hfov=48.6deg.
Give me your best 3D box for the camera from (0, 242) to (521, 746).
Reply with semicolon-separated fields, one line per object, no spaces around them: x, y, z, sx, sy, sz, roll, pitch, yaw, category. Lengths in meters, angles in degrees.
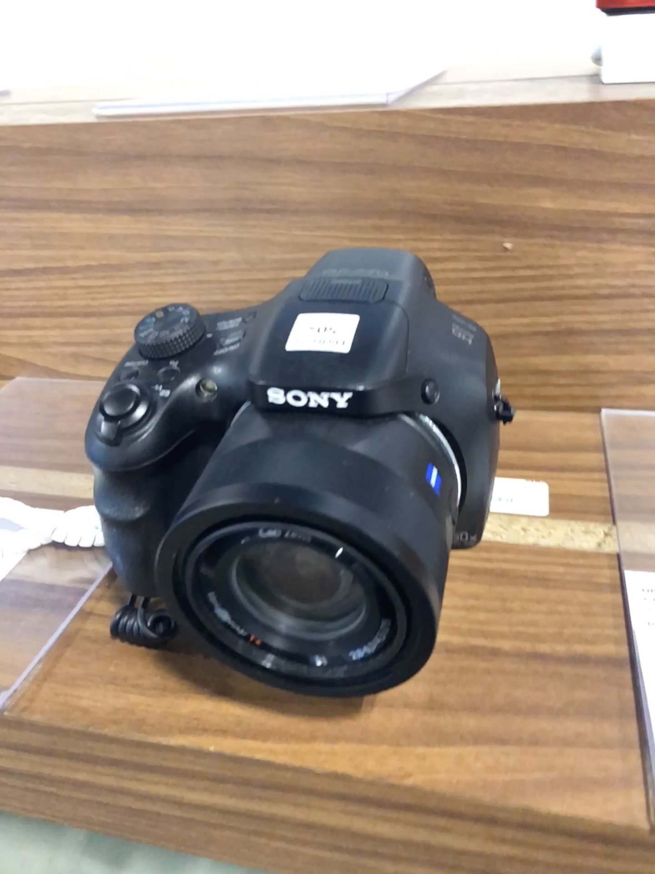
-0.011;0.005;0.227;0.130;0.089;0.121;4;37;14;camera
